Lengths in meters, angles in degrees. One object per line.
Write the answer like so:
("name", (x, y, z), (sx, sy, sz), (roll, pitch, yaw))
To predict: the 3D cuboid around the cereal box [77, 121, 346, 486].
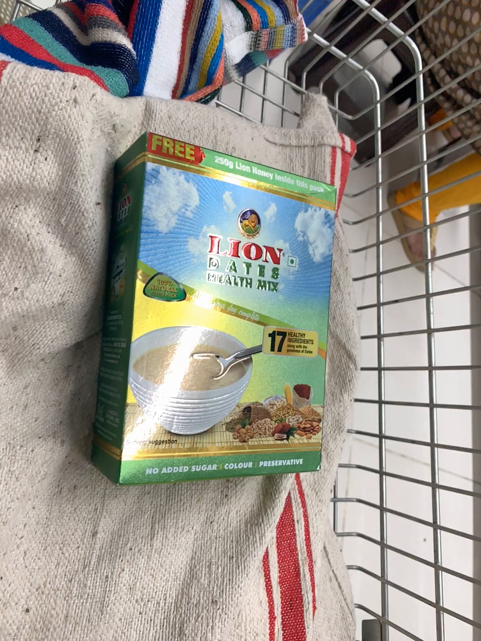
("cereal box", (-0.018, -0.003, 0.331), (0.140, 0.090, 0.190), (6, 85, -29))
